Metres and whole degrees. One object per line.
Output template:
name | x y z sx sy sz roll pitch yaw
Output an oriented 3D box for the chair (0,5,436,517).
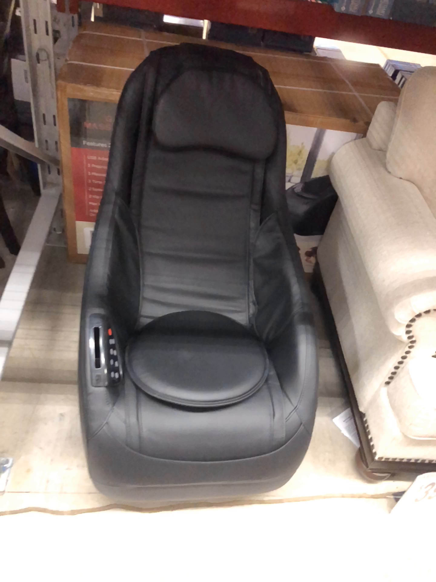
chair | -0.044 -0.039 1.102 0.650 0.848 0.701 1 43 -12
